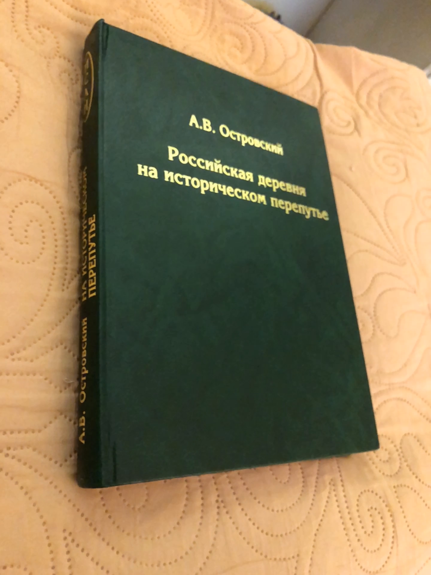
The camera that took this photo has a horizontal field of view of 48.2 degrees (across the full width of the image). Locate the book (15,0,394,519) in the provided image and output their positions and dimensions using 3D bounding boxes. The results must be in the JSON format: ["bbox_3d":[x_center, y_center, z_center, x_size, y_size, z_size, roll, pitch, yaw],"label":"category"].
[{"bbox_3d":[-0.003,-0.023,0.260,0.181,0.040,0.241,6,69,-32],"label":"book"}]
